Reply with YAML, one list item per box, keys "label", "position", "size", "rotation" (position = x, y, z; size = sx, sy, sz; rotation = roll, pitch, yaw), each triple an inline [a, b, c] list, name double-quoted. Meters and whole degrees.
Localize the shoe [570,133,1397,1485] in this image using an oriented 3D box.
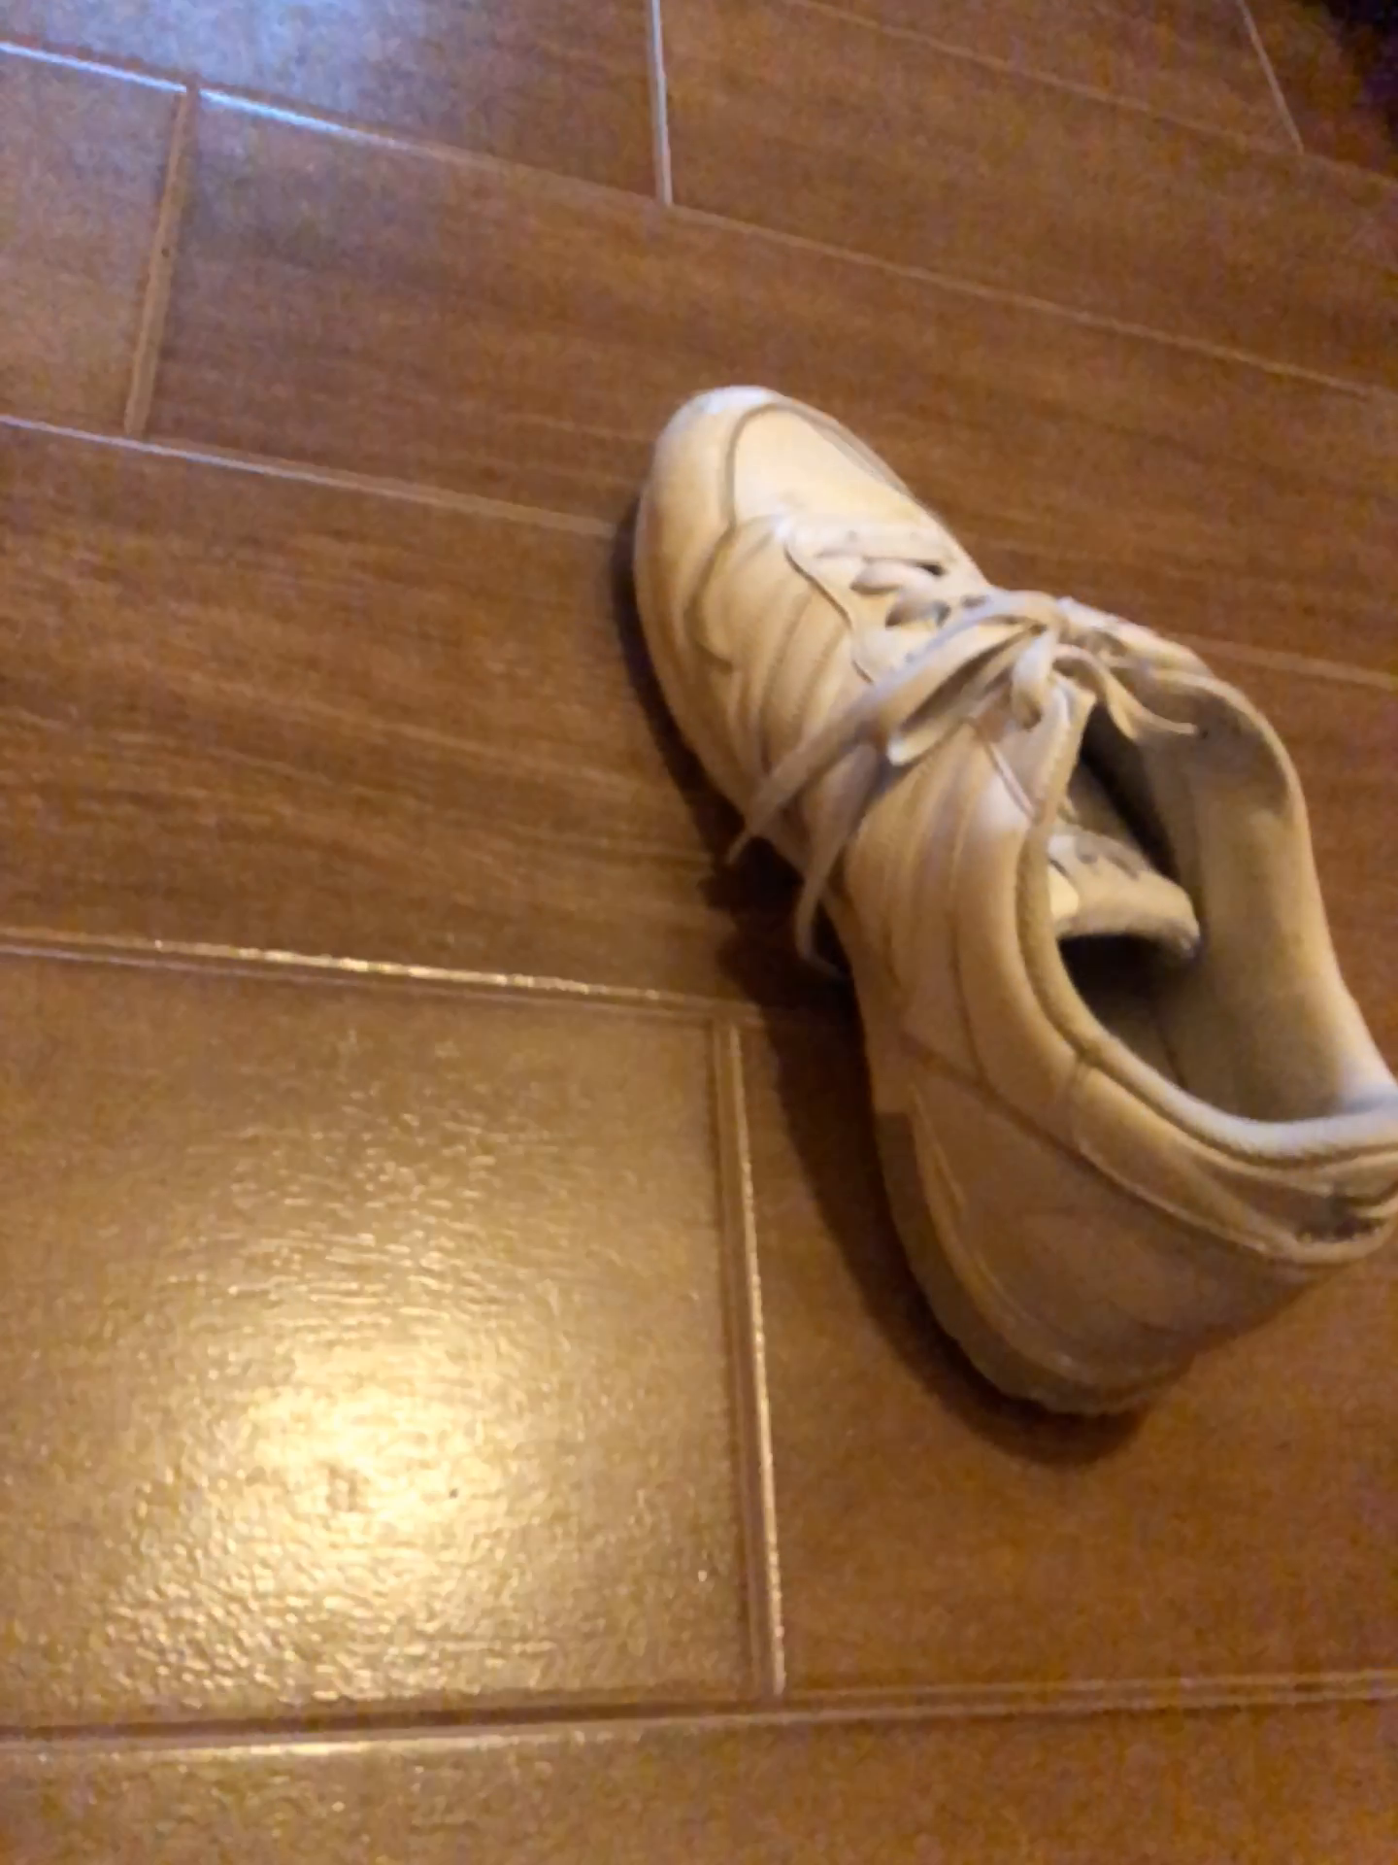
- label: "shoe"
  position: [0.079, -0.043, 0.399]
  size: [0.120, 0.119, 0.311]
  rotation: [-8, 64, -25]
